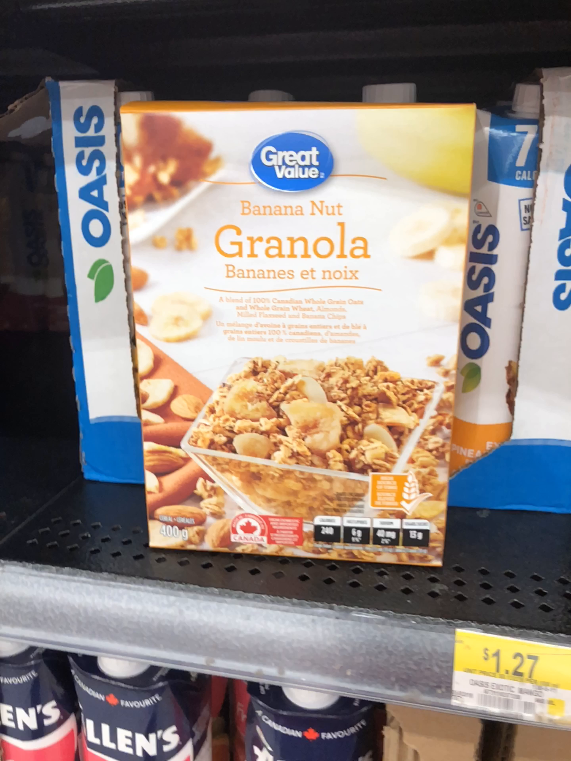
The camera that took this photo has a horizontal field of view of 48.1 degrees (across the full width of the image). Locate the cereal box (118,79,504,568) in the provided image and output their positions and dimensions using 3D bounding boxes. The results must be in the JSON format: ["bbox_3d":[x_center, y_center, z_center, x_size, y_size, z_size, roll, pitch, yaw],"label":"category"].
[{"bbox_3d":[0.011,-0.025,0.322,0.160,0.219,0.060,2,15,7],"label":"cereal box"}]
